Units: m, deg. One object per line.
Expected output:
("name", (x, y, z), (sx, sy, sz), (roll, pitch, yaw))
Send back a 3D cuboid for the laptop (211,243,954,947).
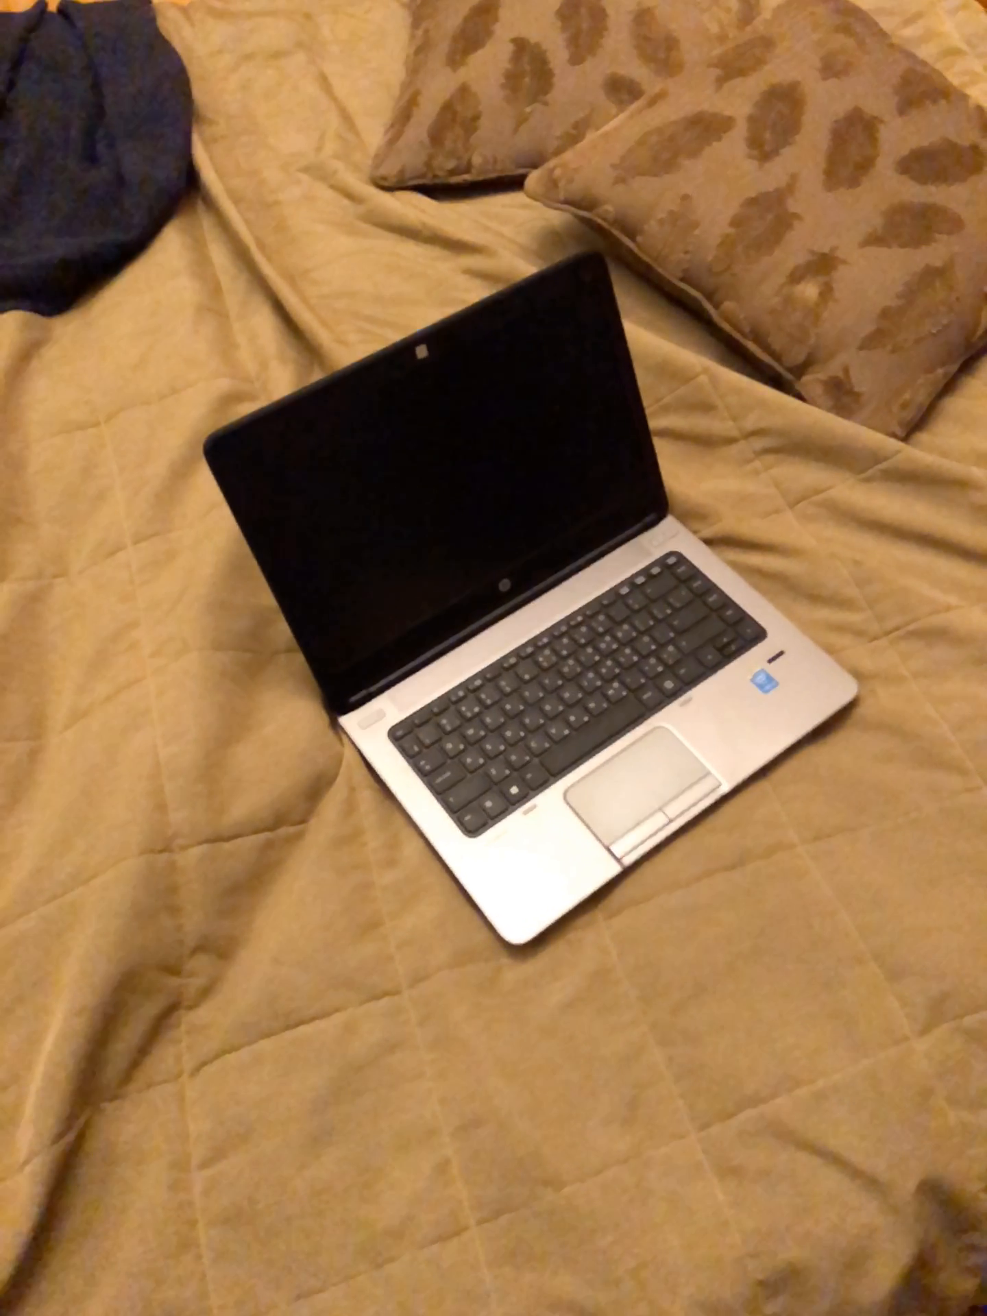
("laptop", (0.048, -0.060, 0.762), (0.333, 0.189, 0.339), (-32, 62, -18))
